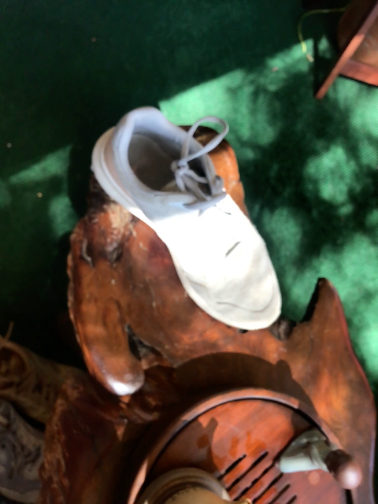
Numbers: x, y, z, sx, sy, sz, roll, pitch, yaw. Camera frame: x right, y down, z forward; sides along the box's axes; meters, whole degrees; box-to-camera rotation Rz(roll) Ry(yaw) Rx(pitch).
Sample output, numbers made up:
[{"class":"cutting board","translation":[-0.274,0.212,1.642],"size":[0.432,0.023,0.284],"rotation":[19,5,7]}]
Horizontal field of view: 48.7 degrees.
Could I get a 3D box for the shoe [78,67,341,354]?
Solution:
[{"class":"shoe","translation":[0.014,-0.034,0.424],"size":[0.103,0.091,0.263],"rotation":[-38,90,-23]}]
